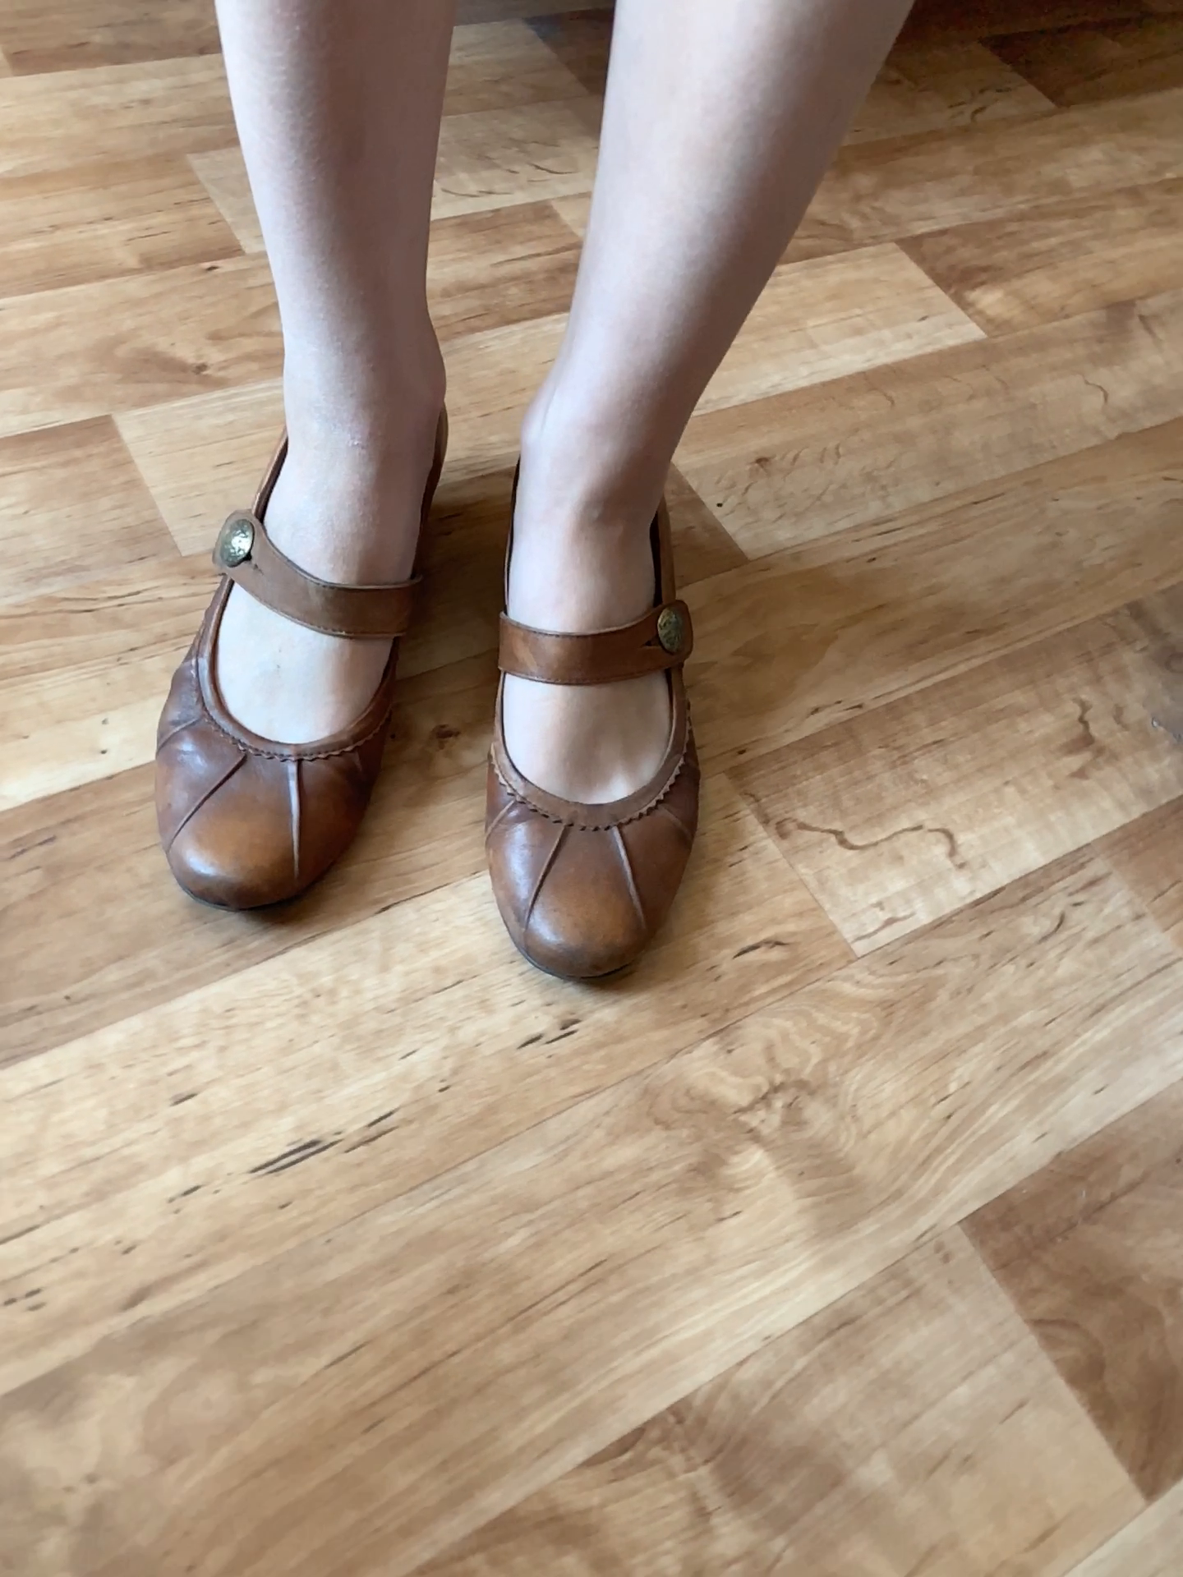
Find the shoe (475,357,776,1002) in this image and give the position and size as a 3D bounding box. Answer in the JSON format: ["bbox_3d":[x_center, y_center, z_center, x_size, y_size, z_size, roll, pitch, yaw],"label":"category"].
[{"bbox_3d":[0.007,-0.051,0.488,0.090,0.090,0.251,4,57,-8],"label":"shoe"}]

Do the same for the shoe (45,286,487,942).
[{"bbox_3d":[-0.114,-0.078,0.484,0.090,0.090,0.251,12,56,-3],"label":"shoe"}]
